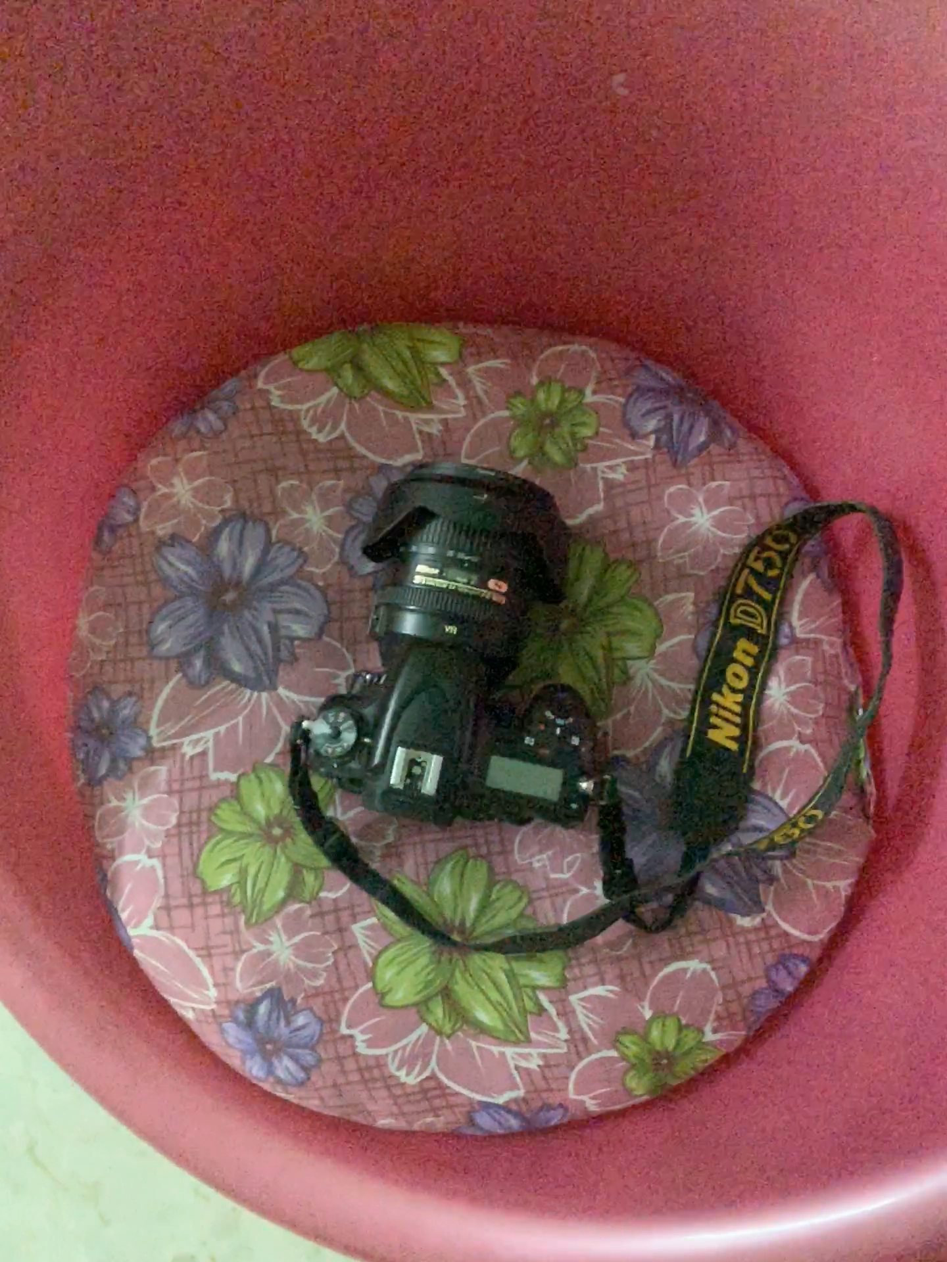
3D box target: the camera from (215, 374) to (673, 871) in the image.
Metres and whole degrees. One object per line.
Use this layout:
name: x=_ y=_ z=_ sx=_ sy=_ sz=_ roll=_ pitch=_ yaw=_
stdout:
camera: x=-0.008 y=-0.002 z=0.495 sx=0.166 sy=0.130 sz=0.191 roll=12 pitch=85 yaw=6
